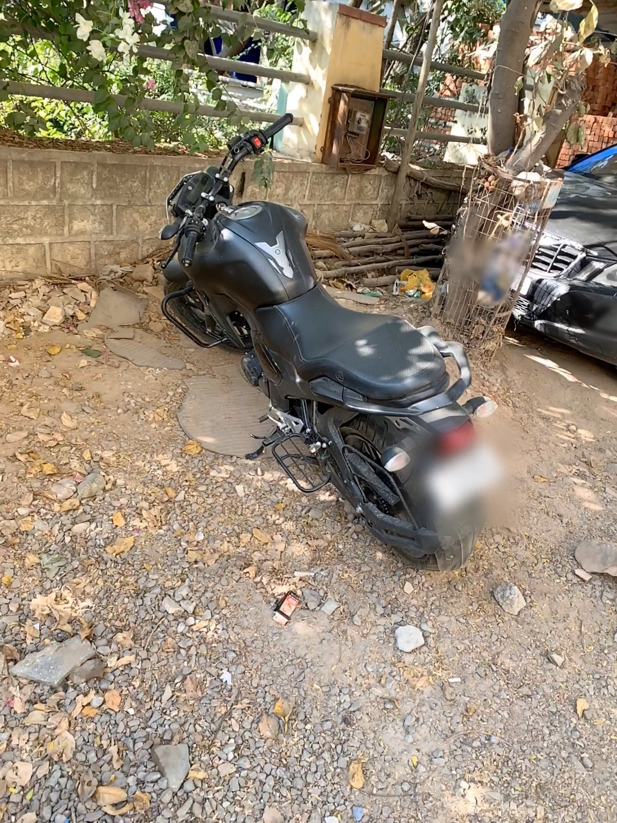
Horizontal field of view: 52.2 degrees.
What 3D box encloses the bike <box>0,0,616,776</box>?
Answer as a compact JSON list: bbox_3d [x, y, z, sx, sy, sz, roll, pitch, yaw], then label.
[{"bbox_3d":[-0.266,-0.276,2.046,0.820,1.498,1.759,-13,39,-39],"label":"bike"}]
